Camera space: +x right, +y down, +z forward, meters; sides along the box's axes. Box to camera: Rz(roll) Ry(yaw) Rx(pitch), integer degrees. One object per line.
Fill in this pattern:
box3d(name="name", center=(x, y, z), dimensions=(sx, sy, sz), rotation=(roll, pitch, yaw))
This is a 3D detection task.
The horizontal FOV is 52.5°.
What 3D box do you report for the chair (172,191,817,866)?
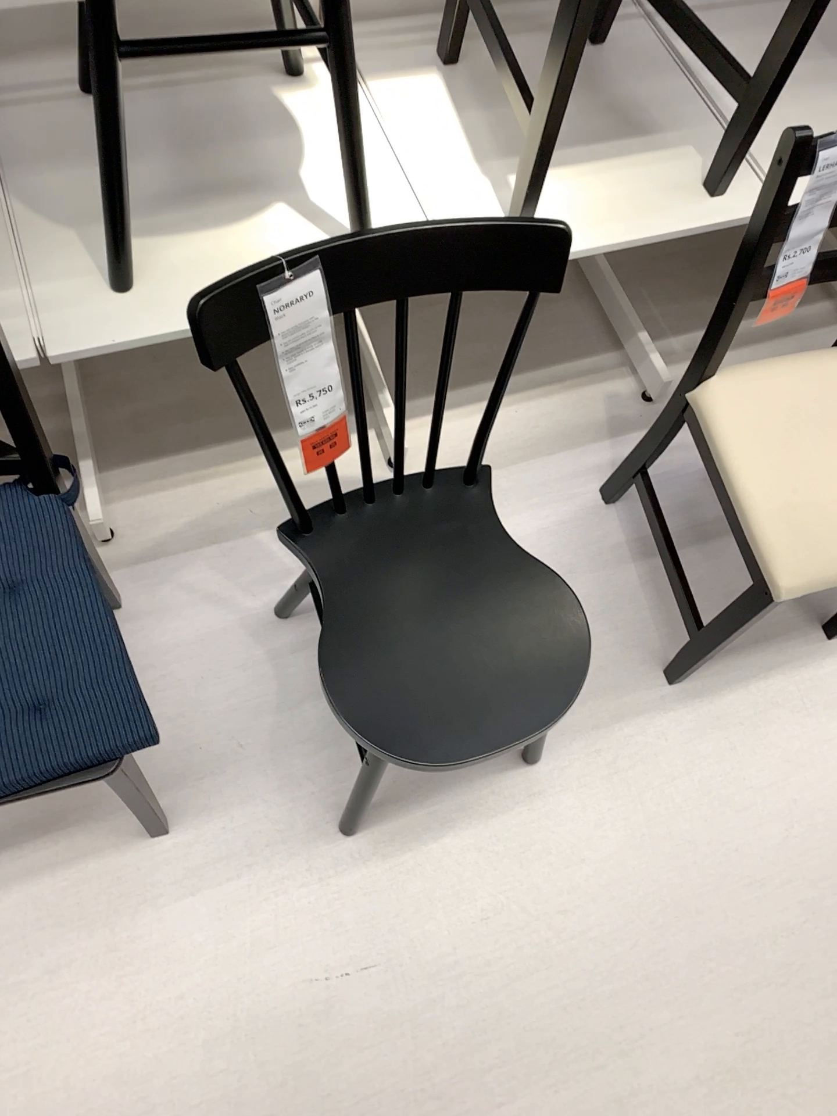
box3d(name="chair", center=(0.013, 0.035, 1.175), dimensions=(0.470, 0.789, 0.521), rotation=(-16, 67, -15))
